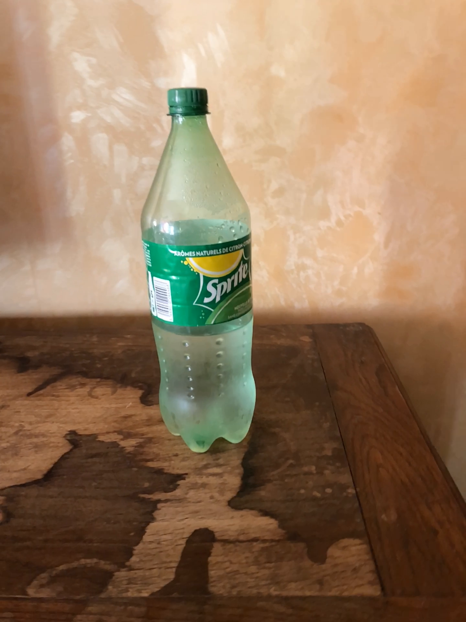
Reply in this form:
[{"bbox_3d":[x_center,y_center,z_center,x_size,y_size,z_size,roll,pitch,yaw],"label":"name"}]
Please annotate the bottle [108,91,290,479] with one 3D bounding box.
[{"bbox_3d":[-0.022,-0.023,0.409,0.090,0.279,0.090,-1,22,0],"label":"bottle"}]
